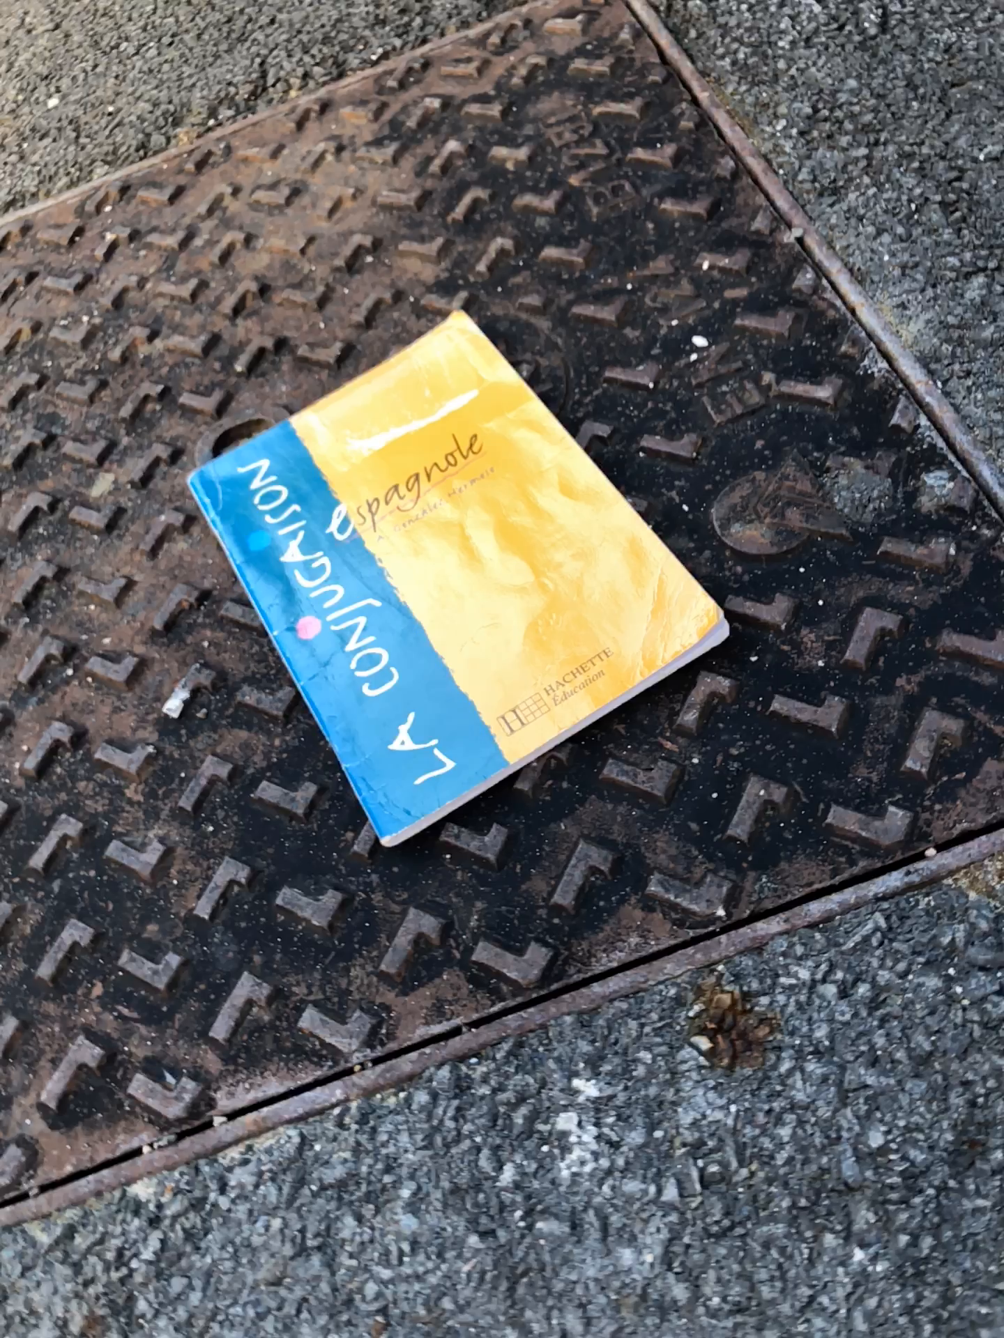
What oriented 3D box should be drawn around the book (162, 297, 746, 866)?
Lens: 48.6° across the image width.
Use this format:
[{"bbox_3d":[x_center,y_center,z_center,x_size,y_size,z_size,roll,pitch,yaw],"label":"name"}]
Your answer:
[{"bbox_3d":[-0.027,-0.044,0.399,0.140,0.017,0.188,-31,58,-5],"label":"book"}]
